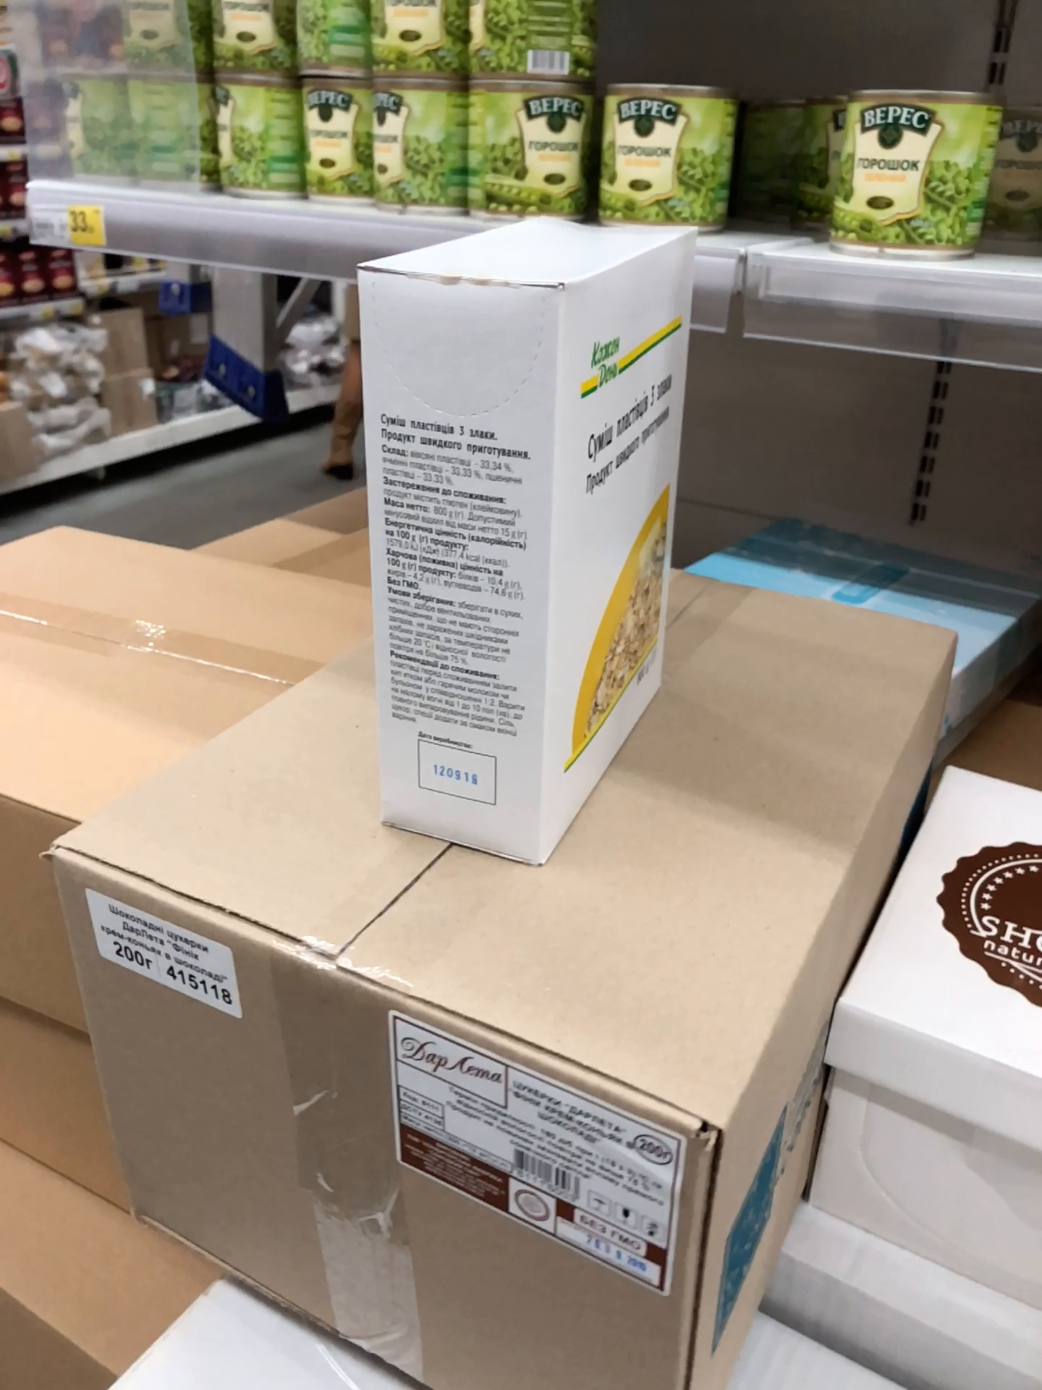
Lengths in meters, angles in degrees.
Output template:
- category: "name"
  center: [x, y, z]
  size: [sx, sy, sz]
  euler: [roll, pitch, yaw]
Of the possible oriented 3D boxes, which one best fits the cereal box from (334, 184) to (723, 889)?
- category: "cereal box"
  center: [0.012, -0.069, 0.430]
  size: [0.070, 0.209, 0.171]
  euler: [11, 30, 19]
